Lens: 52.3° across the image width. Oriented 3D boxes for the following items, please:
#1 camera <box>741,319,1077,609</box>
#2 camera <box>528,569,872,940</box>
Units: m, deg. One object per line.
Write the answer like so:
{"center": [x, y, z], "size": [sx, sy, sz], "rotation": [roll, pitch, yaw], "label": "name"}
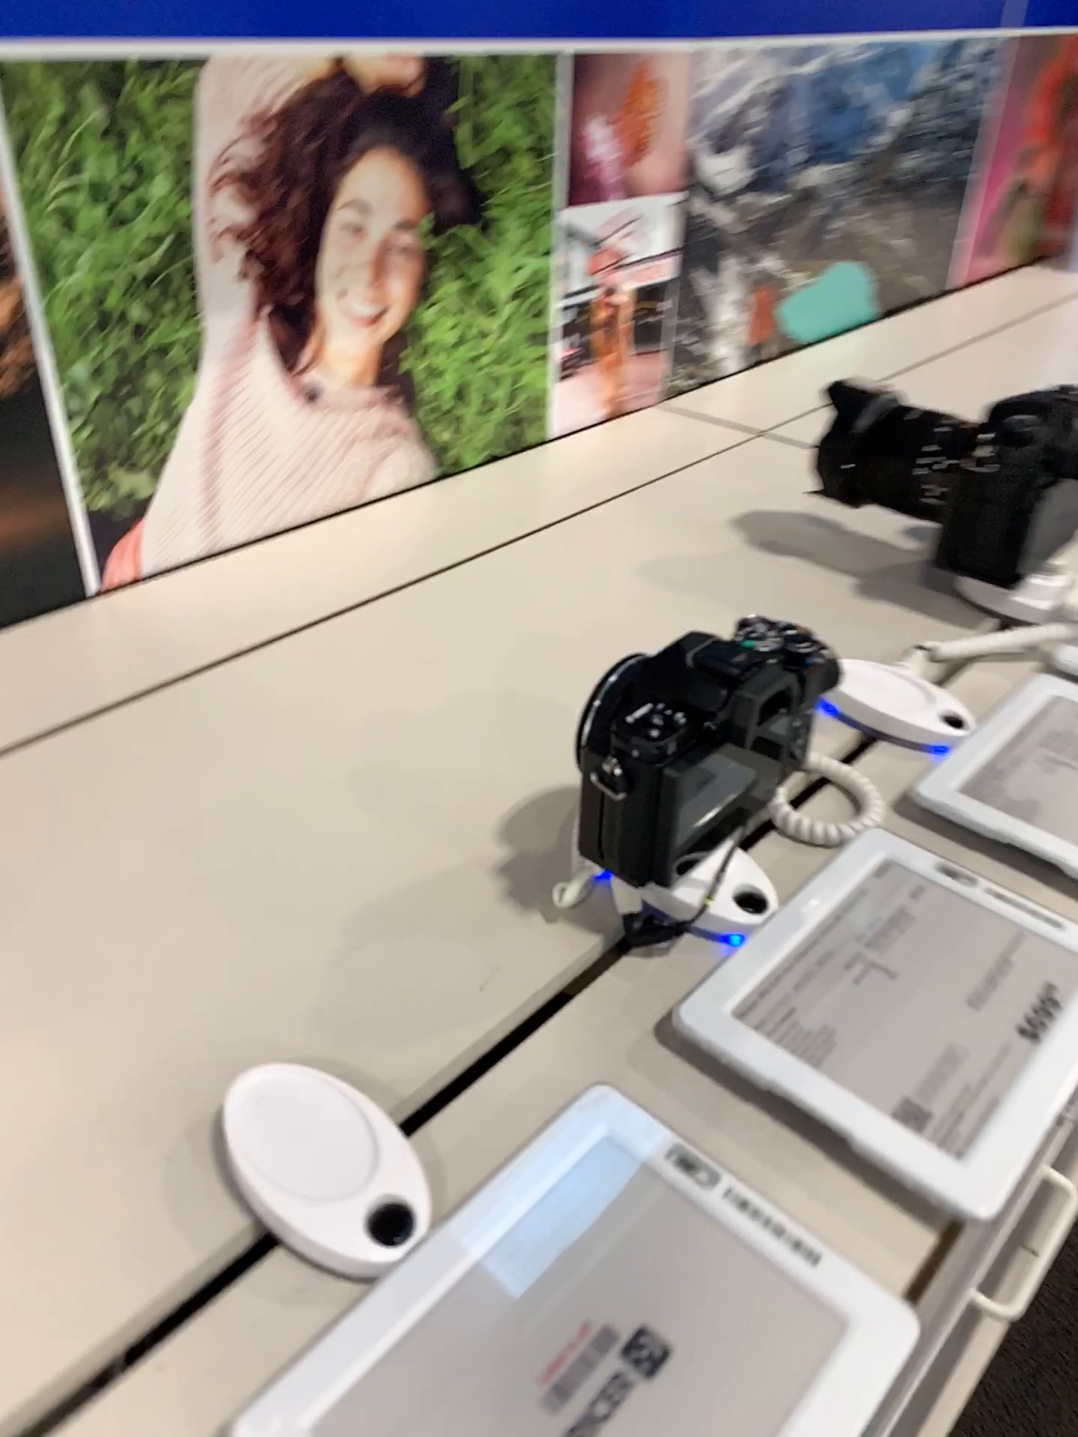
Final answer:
{"center": [0.257, -0.171, 0.697], "size": [0.201, 0.099, 0.140], "rotation": [26, 42, 32], "label": "camera"}
{"center": [0.065, 0.008, 0.443], "size": [0.070, 0.079, 0.130], "rotation": [26, 42, 32], "label": "camera"}
